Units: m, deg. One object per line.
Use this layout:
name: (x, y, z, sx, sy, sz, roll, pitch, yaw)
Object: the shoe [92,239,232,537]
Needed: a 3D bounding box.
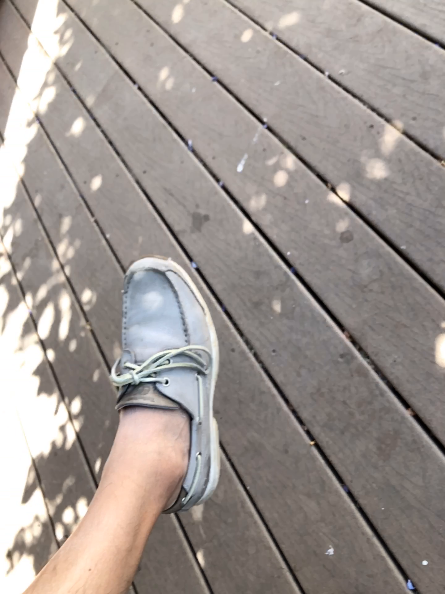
shoe: (-0.074, 0.099, 0.580, 0.115, 0.085, 0.306, -10, 81, 32)
